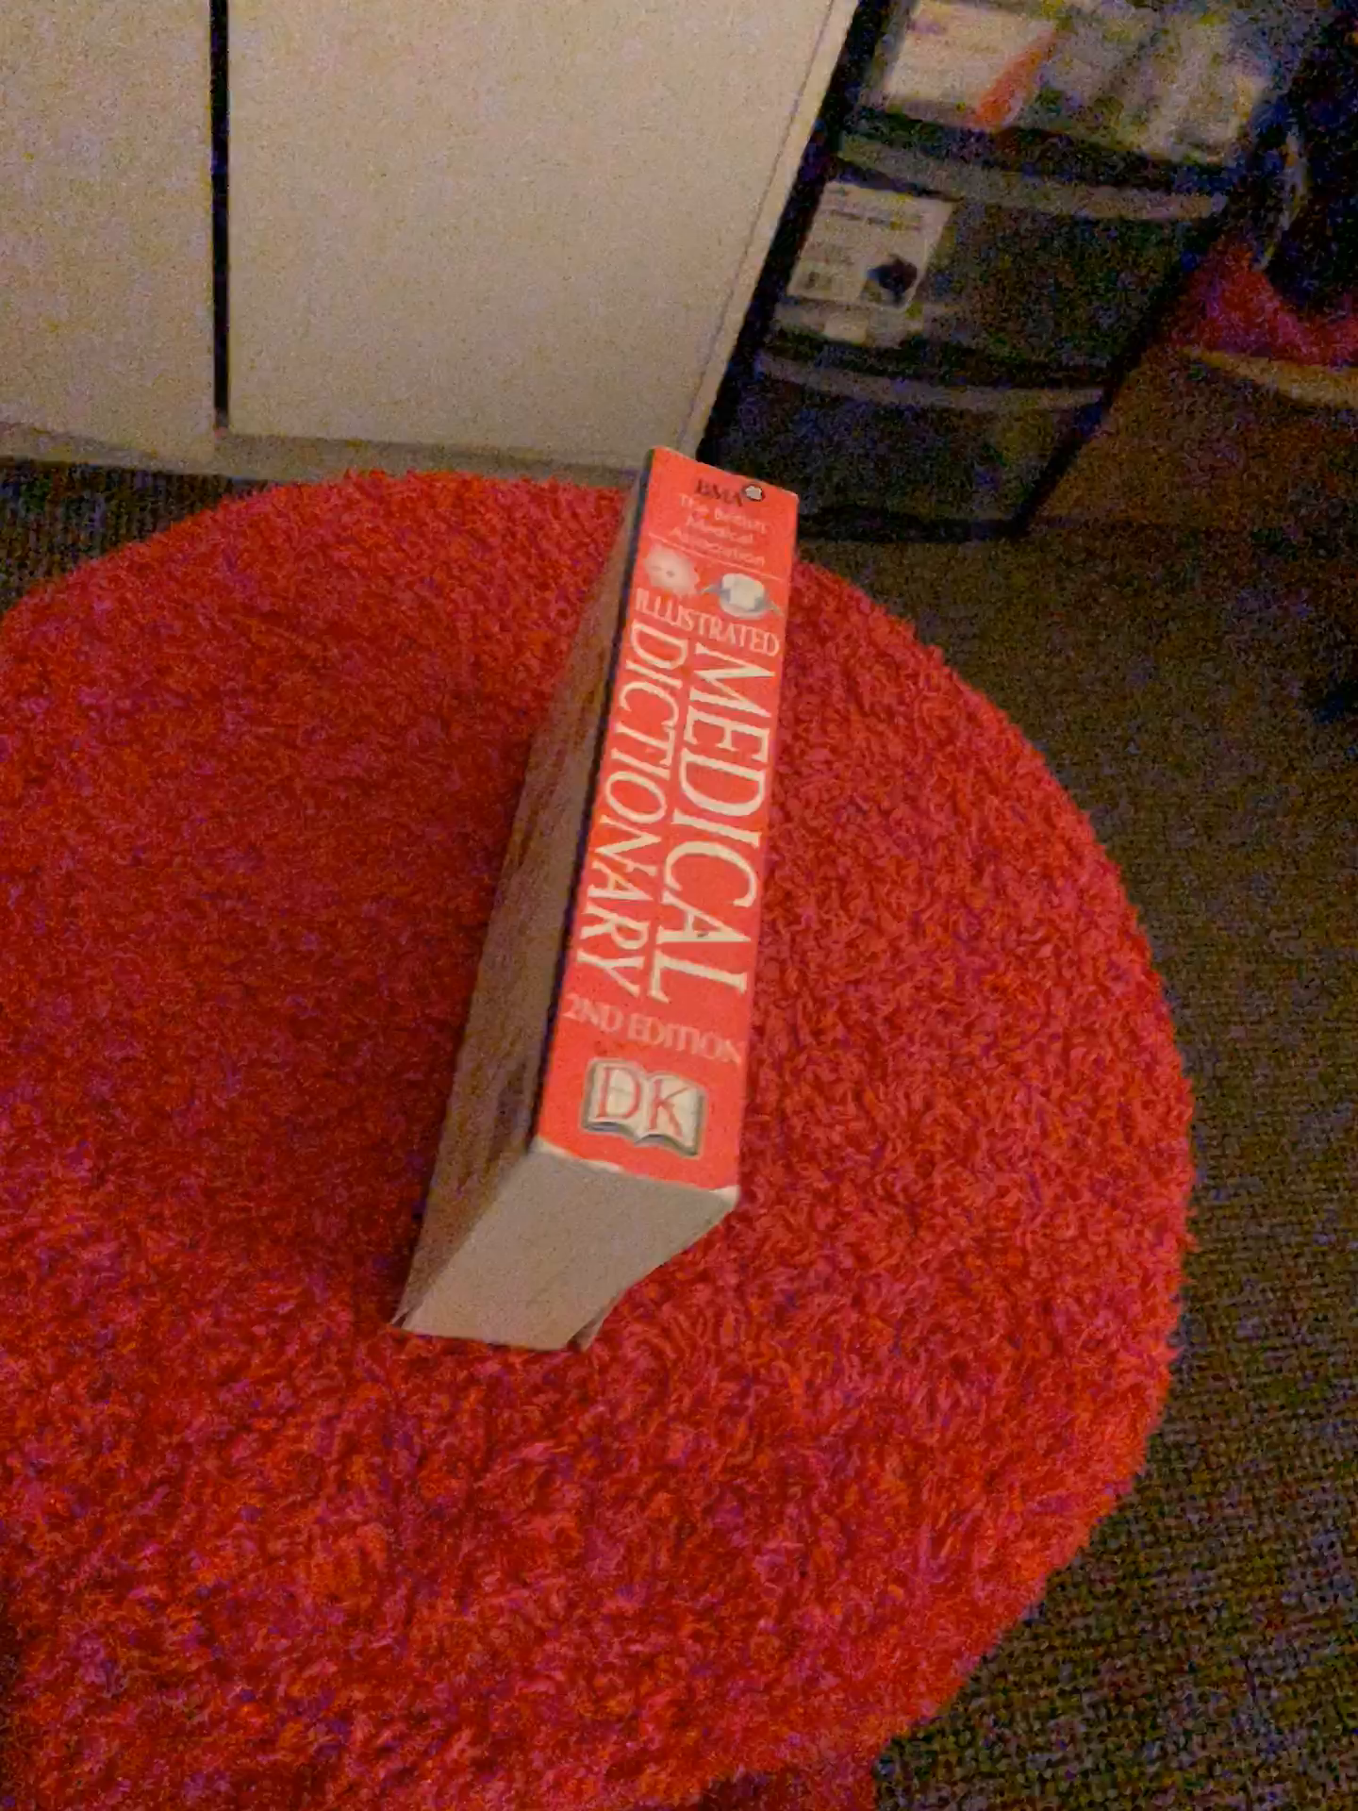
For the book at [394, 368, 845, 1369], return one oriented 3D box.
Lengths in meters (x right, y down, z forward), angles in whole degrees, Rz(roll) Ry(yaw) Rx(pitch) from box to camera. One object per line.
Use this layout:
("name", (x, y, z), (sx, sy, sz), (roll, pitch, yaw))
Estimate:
("book", (-0.013, -0.011, 0.361), (0.050, 0.129, 0.222), (17, 55, -14))
